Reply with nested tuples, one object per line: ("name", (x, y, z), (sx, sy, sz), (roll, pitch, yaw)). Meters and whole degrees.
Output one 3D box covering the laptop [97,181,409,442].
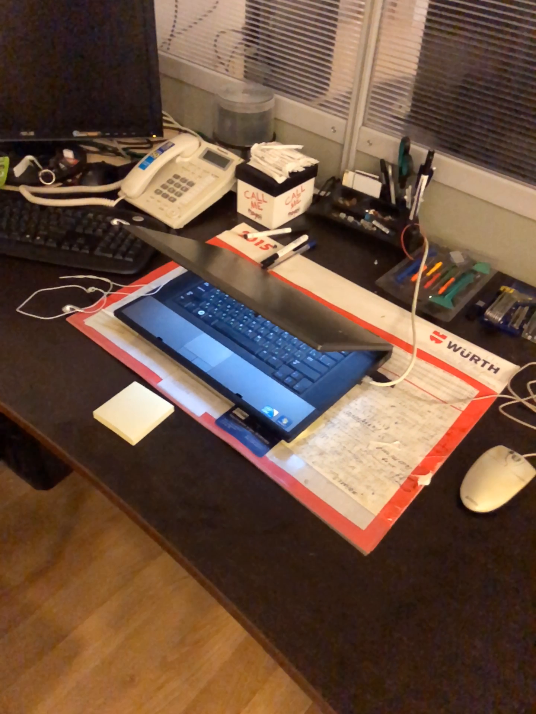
("laptop", (-0.027, -0.089, 0.854), (0.358, 0.141, 0.239), (34, 50, 26))
